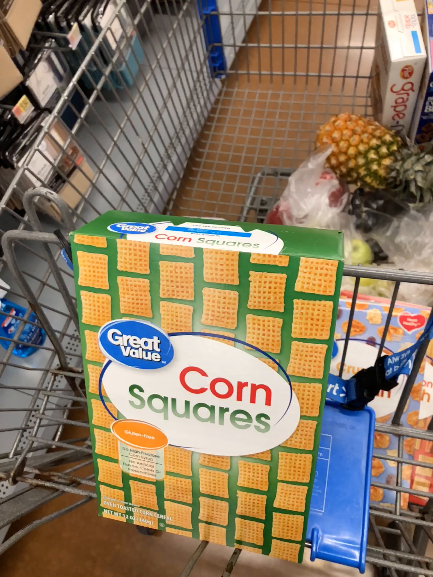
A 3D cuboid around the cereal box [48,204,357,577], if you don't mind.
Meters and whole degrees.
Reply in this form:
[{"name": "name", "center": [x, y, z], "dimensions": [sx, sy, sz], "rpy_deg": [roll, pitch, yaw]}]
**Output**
[{"name": "cereal box", "center": [-0.009, 0.085, 0.385], "dimensions": [0.200, 0.280, 0.070], "rpy_deg": [6, 24, 13]}]
